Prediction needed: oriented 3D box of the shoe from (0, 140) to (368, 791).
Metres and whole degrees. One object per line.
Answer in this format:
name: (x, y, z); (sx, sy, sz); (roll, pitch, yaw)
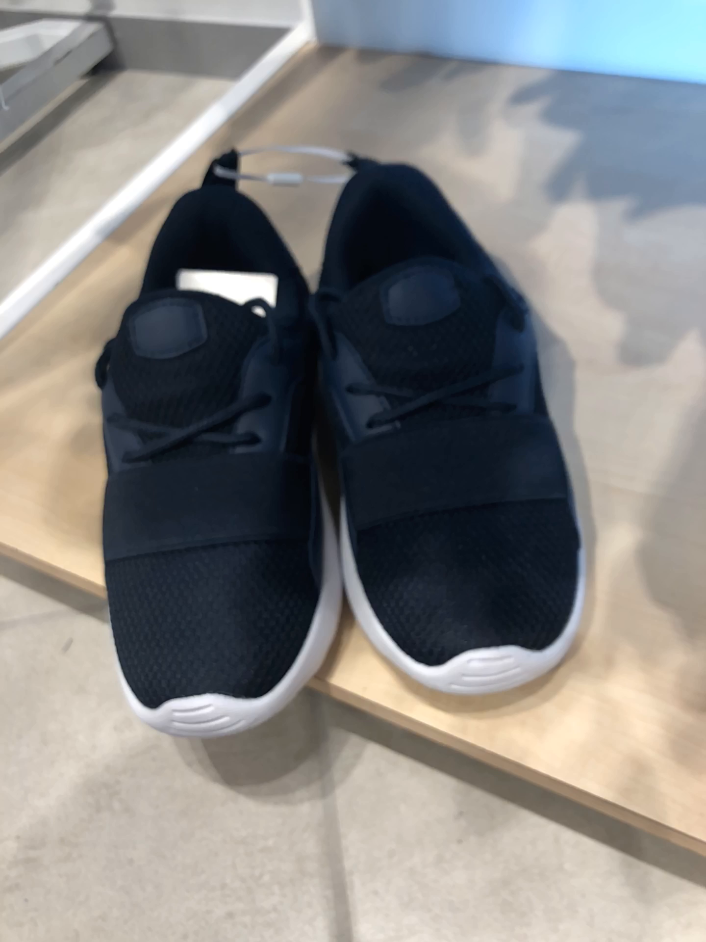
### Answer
shoe: (-0.047, -0.016, 0.315); (0.090, 0.099, 0.241); (-5, 51, 5)

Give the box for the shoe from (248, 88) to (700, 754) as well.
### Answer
shoe: (0.025, -0.035, 0.310); (0.100, 0.099, 0.241); (-10, 51, 1)
